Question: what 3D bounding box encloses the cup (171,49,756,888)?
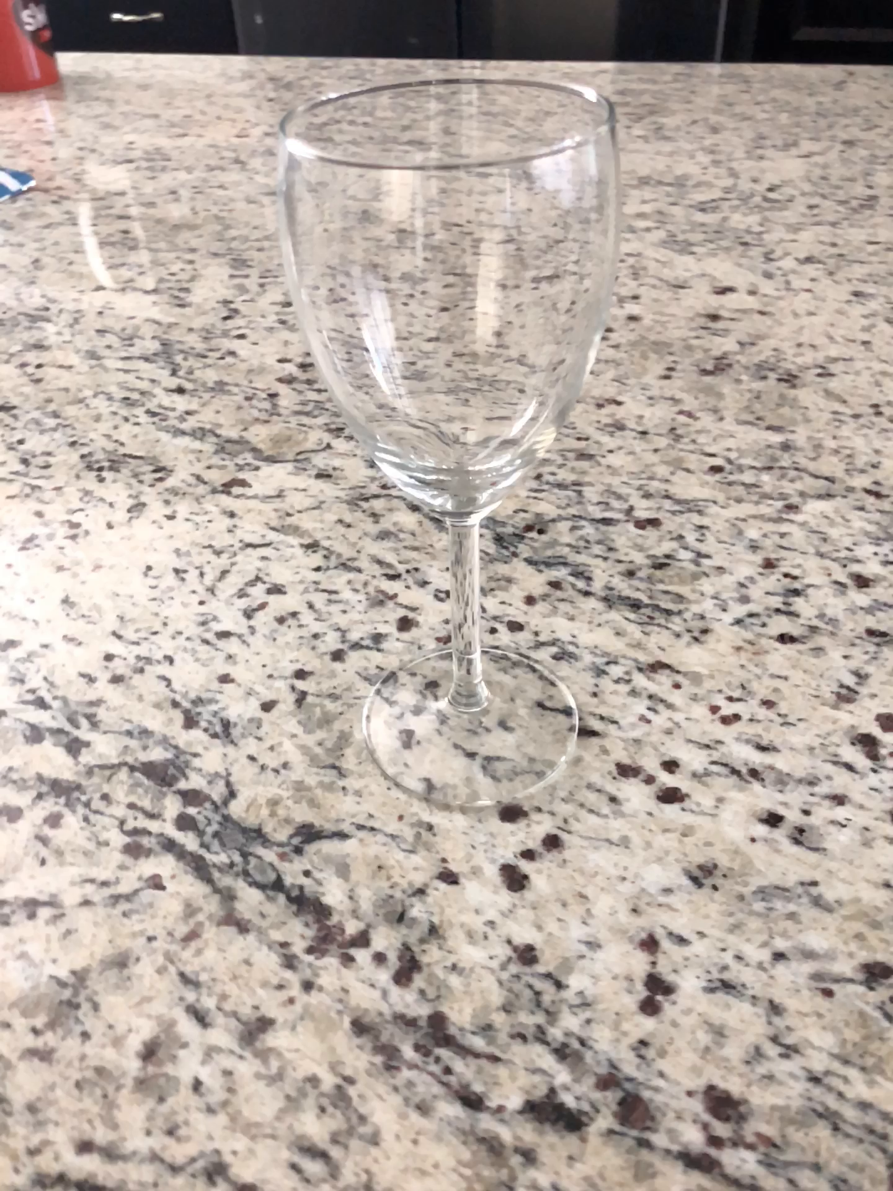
[{"bbox_3d":[0.006,-0.029,0.243,0.080,0.169,0.080,-2,37,1],"label":"cup"}]
